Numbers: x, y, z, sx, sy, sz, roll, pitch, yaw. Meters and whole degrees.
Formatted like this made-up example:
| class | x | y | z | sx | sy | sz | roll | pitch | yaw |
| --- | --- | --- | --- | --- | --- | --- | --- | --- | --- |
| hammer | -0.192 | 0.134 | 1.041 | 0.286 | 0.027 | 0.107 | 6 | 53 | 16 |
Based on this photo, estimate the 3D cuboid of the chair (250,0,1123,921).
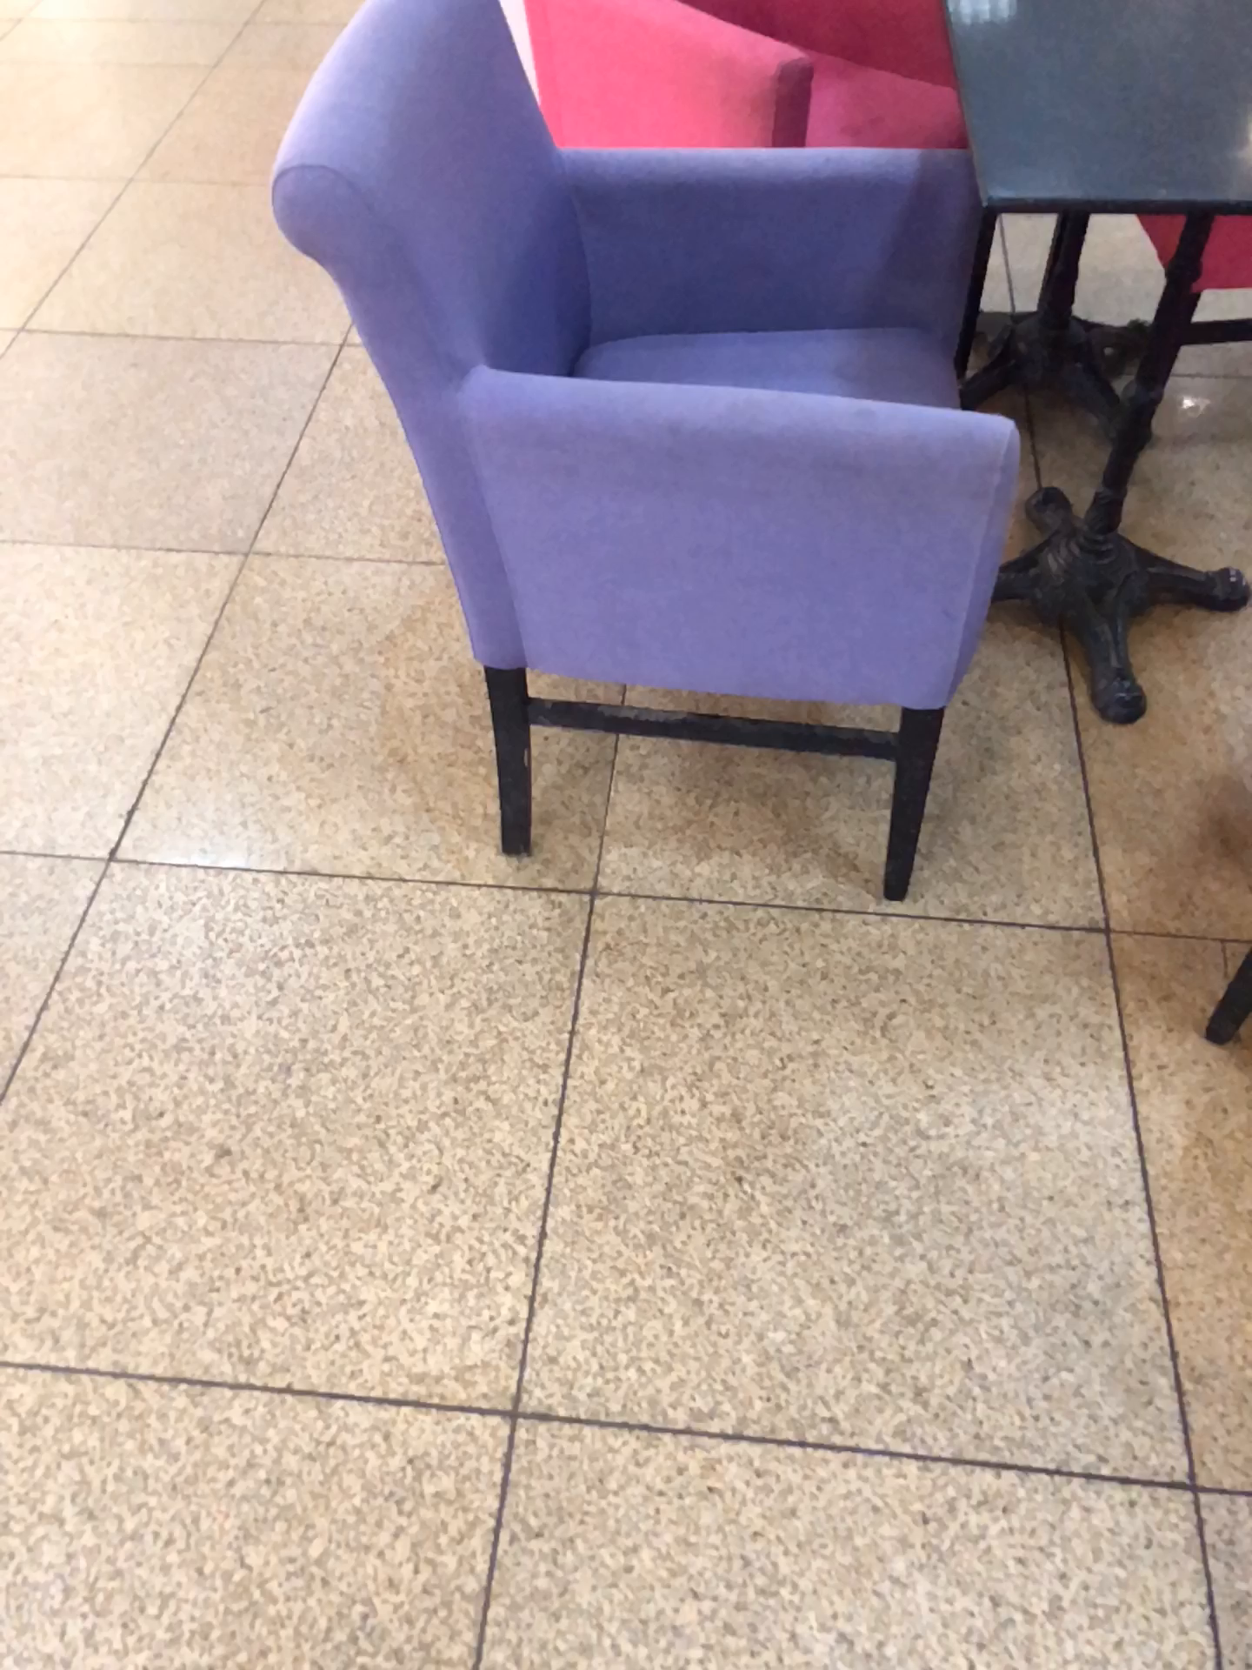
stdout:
| class | x | y | z | sx | sy | sz | roll | pitch | yaw |
| --- | --- | --- | --- | --- | --- | --- | --- | --- | --- |
| chair | 0.072 | -0.415 | 1.455 | 0.610 | 0.817 | 0.592 | 4 | 50 | 5 |
